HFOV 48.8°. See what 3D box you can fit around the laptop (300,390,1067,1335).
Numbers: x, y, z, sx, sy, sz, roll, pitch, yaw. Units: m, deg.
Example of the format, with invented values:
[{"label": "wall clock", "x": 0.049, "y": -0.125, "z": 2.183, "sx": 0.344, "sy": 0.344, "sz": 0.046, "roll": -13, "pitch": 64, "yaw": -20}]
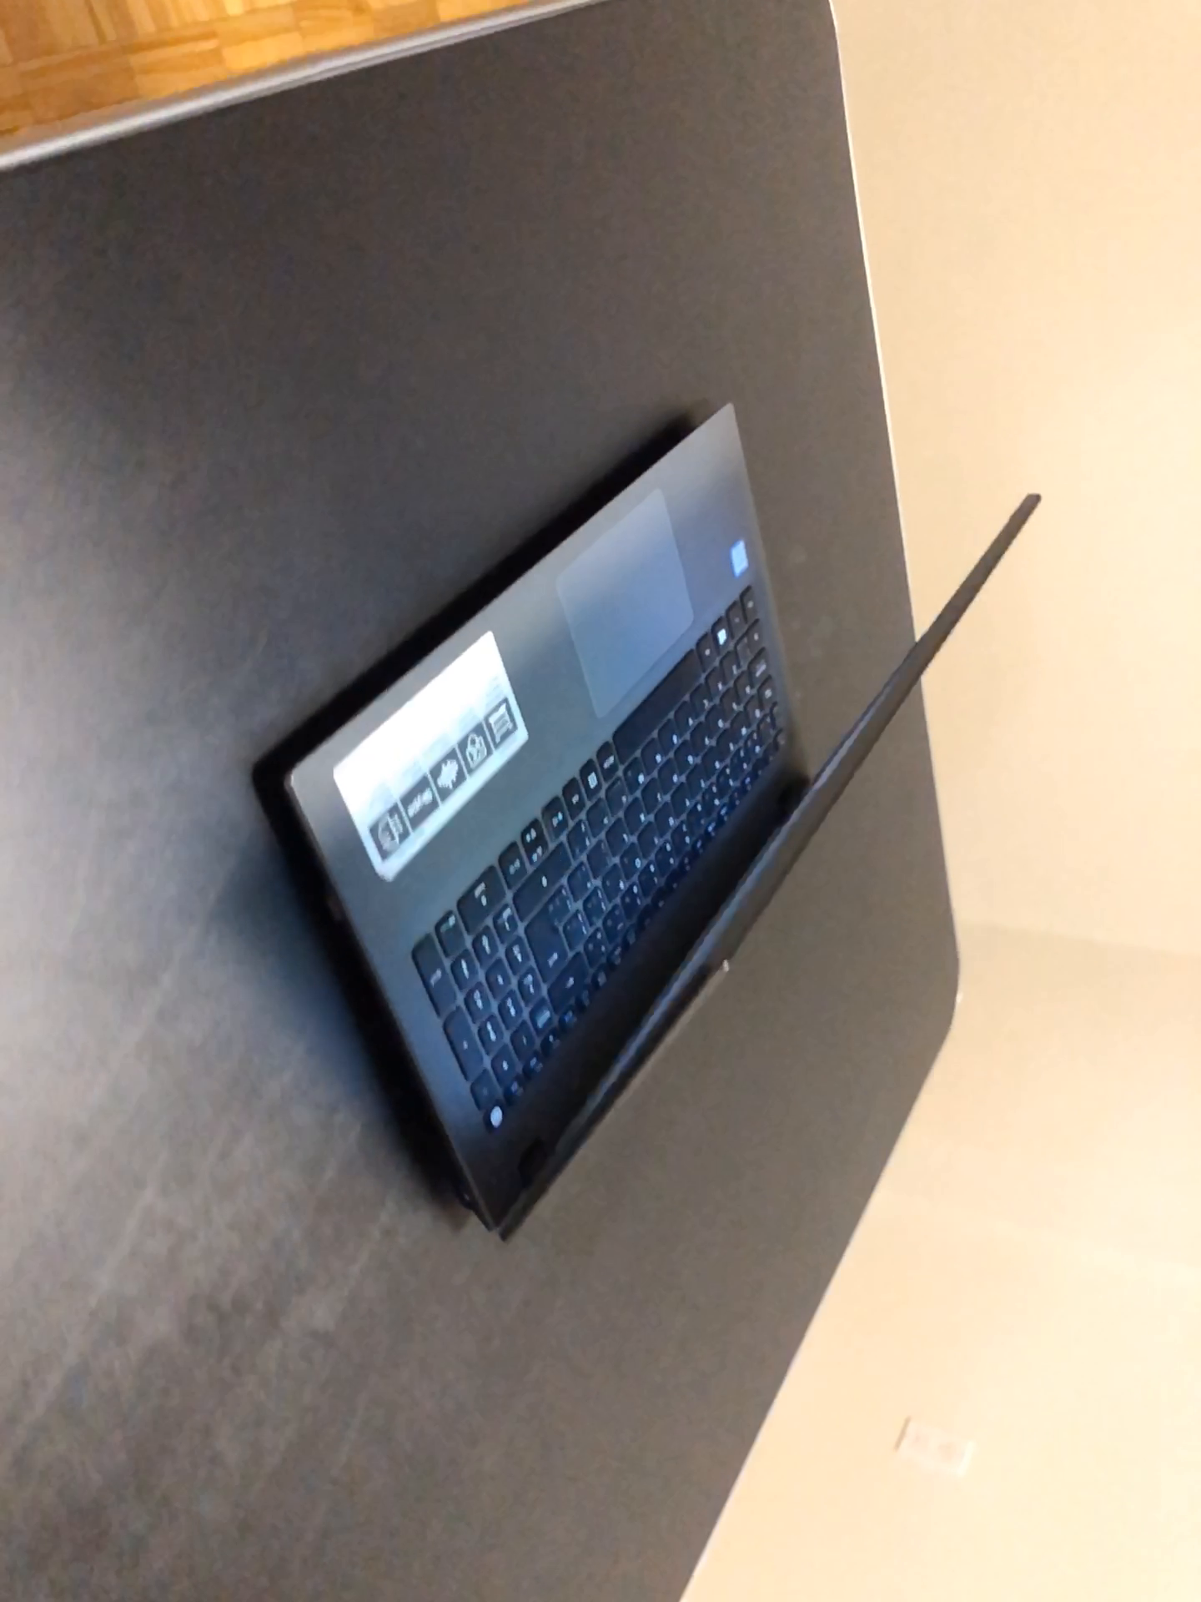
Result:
[{"label": "laptop", "x": 0.082, "y": 0.000, "z": 0.626, "sx": 0.370, "sy": 0.155, "sz": 0.251, "roll": -49, "pitch": 133, "yaw": -42}]
